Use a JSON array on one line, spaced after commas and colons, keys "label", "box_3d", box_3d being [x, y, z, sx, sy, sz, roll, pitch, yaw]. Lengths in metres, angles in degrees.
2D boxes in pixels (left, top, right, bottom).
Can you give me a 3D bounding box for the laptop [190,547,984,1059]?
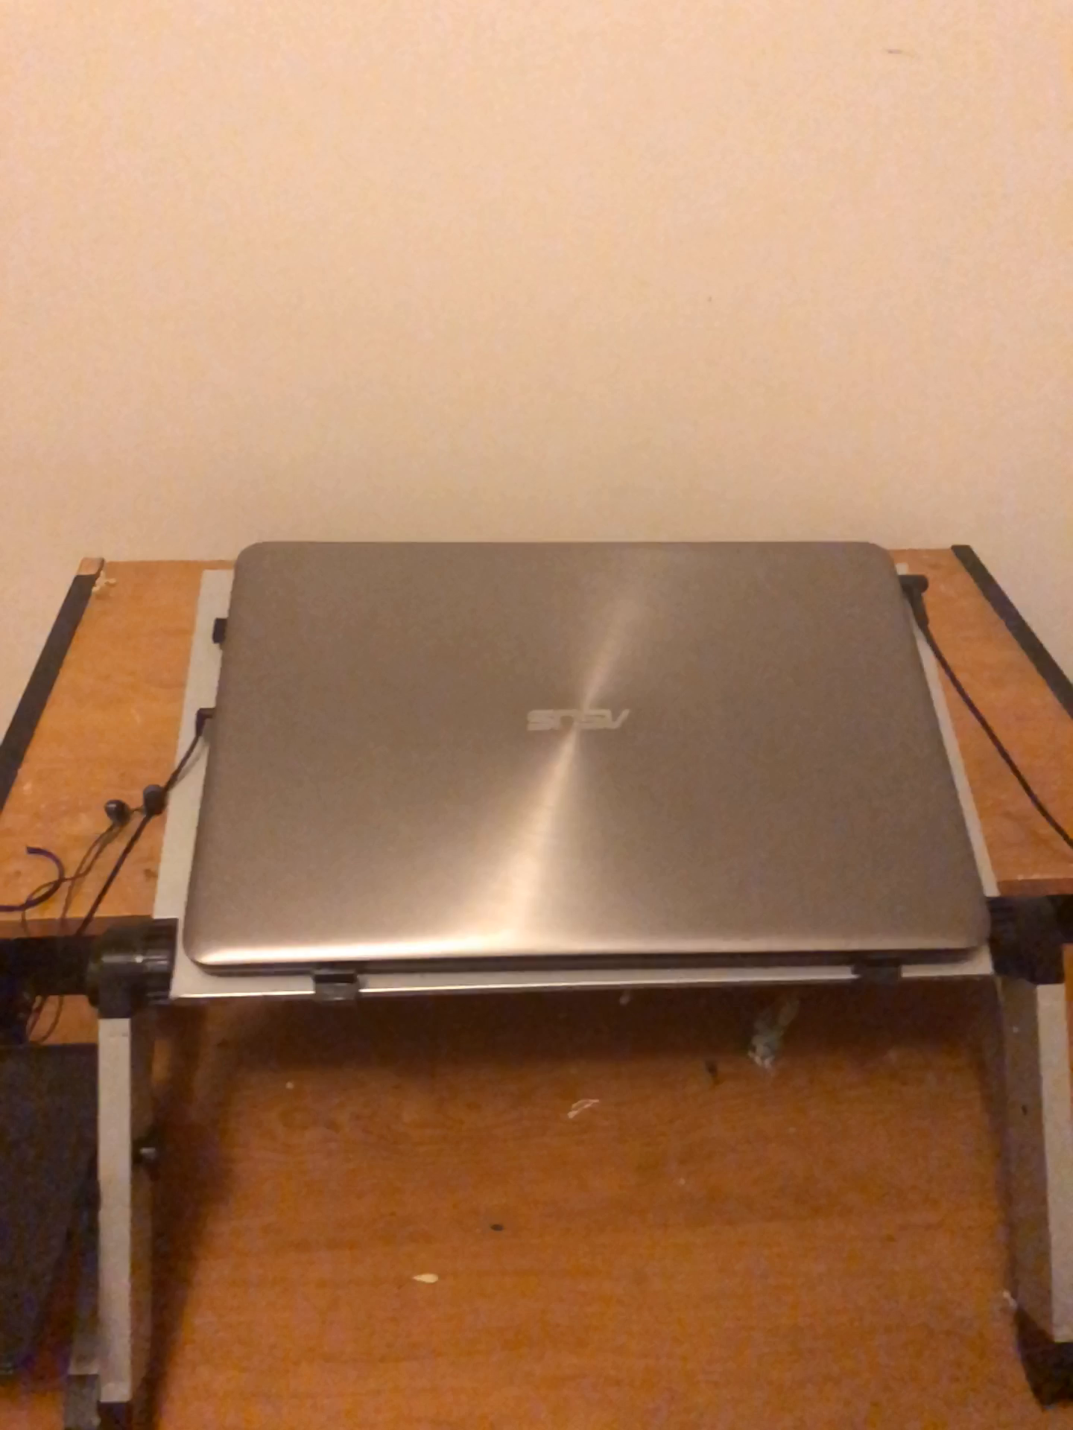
[{"label": "laptop", "box_3d": [0.019, 0.035, 0.631, 0.361, 0.071, 0.250, -1, 53, -2]}]
